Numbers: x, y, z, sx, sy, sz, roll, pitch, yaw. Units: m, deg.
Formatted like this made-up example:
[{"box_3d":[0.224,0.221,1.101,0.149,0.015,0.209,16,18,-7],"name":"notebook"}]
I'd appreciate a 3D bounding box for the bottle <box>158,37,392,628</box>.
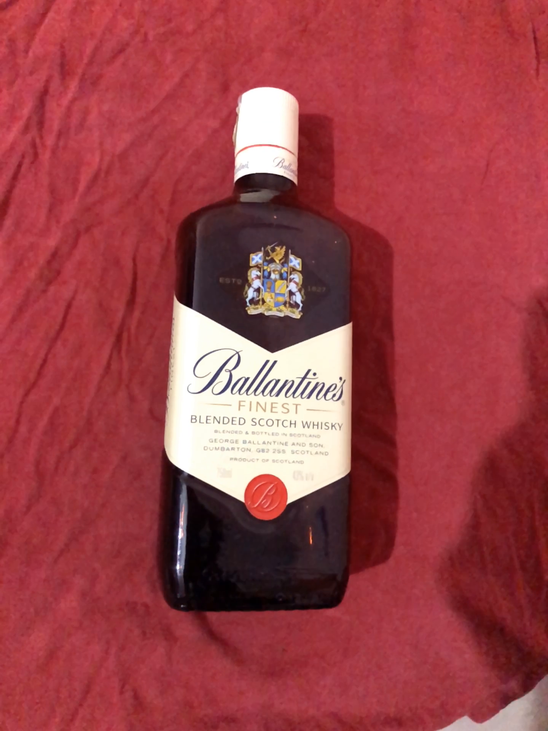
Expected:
[{"box_3d":[0.001,-0.015,0.290,0.090,0.050,0.250,4,83,-15],"name":"bottle"}]
